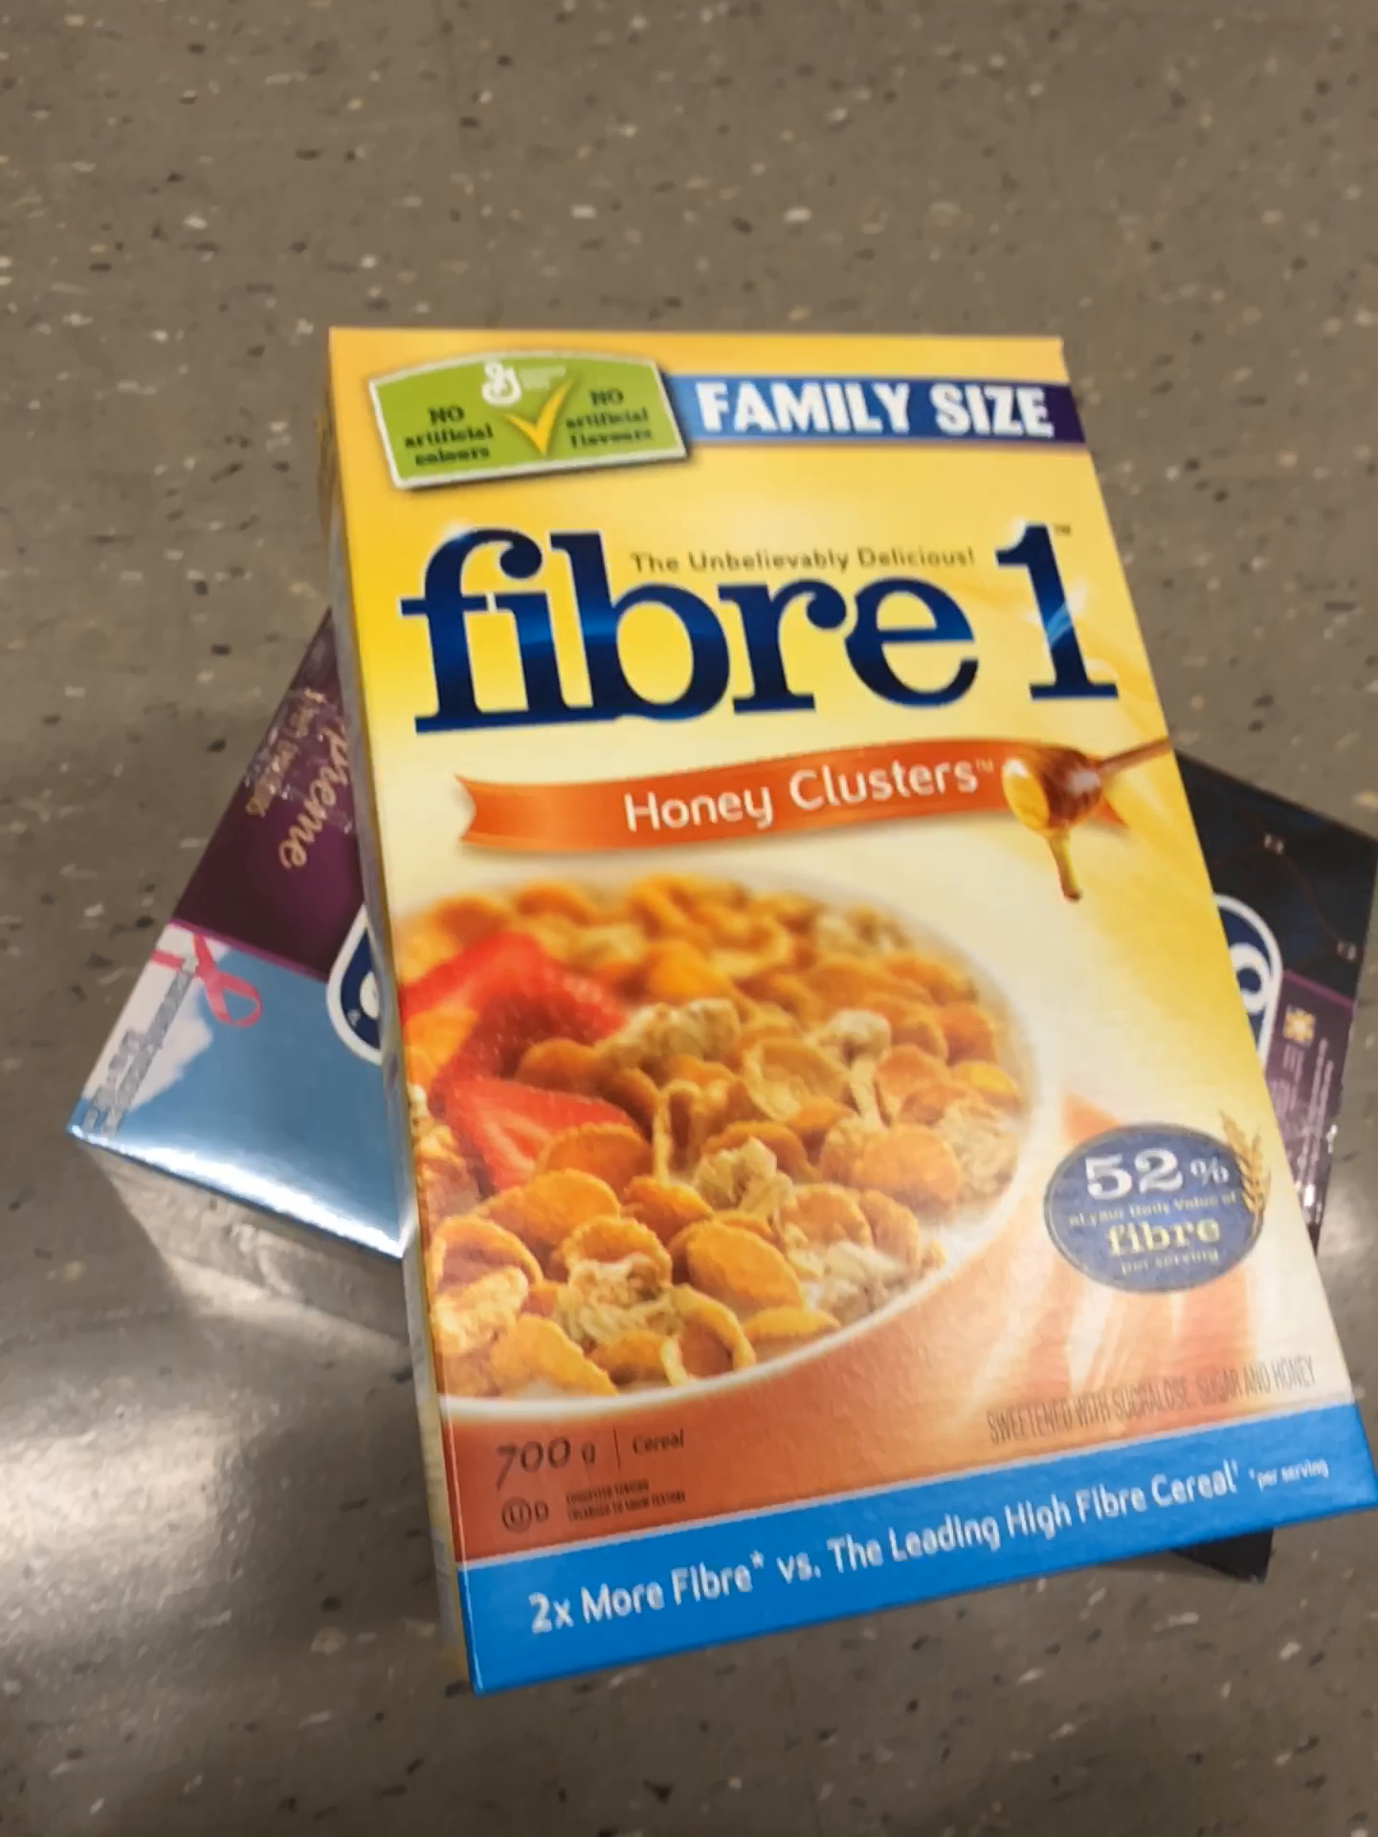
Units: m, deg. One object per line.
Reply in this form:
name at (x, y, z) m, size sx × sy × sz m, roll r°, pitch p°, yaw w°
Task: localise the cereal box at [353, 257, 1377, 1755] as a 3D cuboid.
cereal box at (0.037, -0.002, 0.375) m, size 0.200 × 0.080 × 0.320 m, roll -5°, pitch 70°, yaw -15°
